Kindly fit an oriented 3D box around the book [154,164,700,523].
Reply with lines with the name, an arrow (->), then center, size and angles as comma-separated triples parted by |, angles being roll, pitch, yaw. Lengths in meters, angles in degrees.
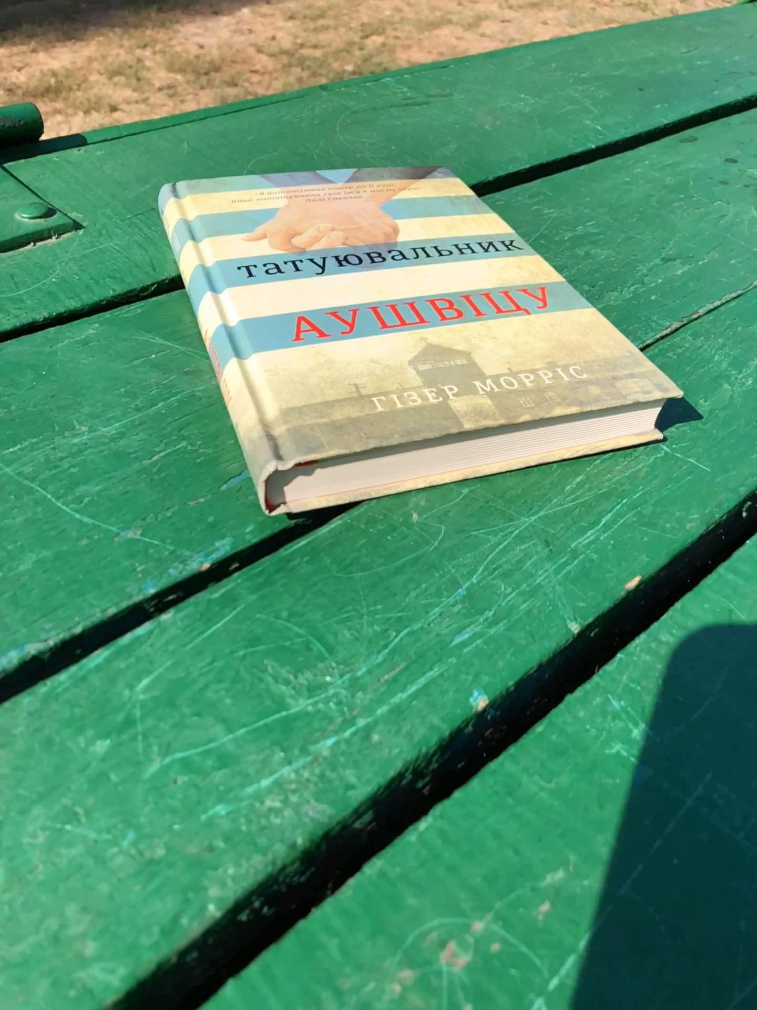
book -> 0.001, -0.083, 0.333 | 0.147, 0.020, 0.214 | -10, 44, -17
